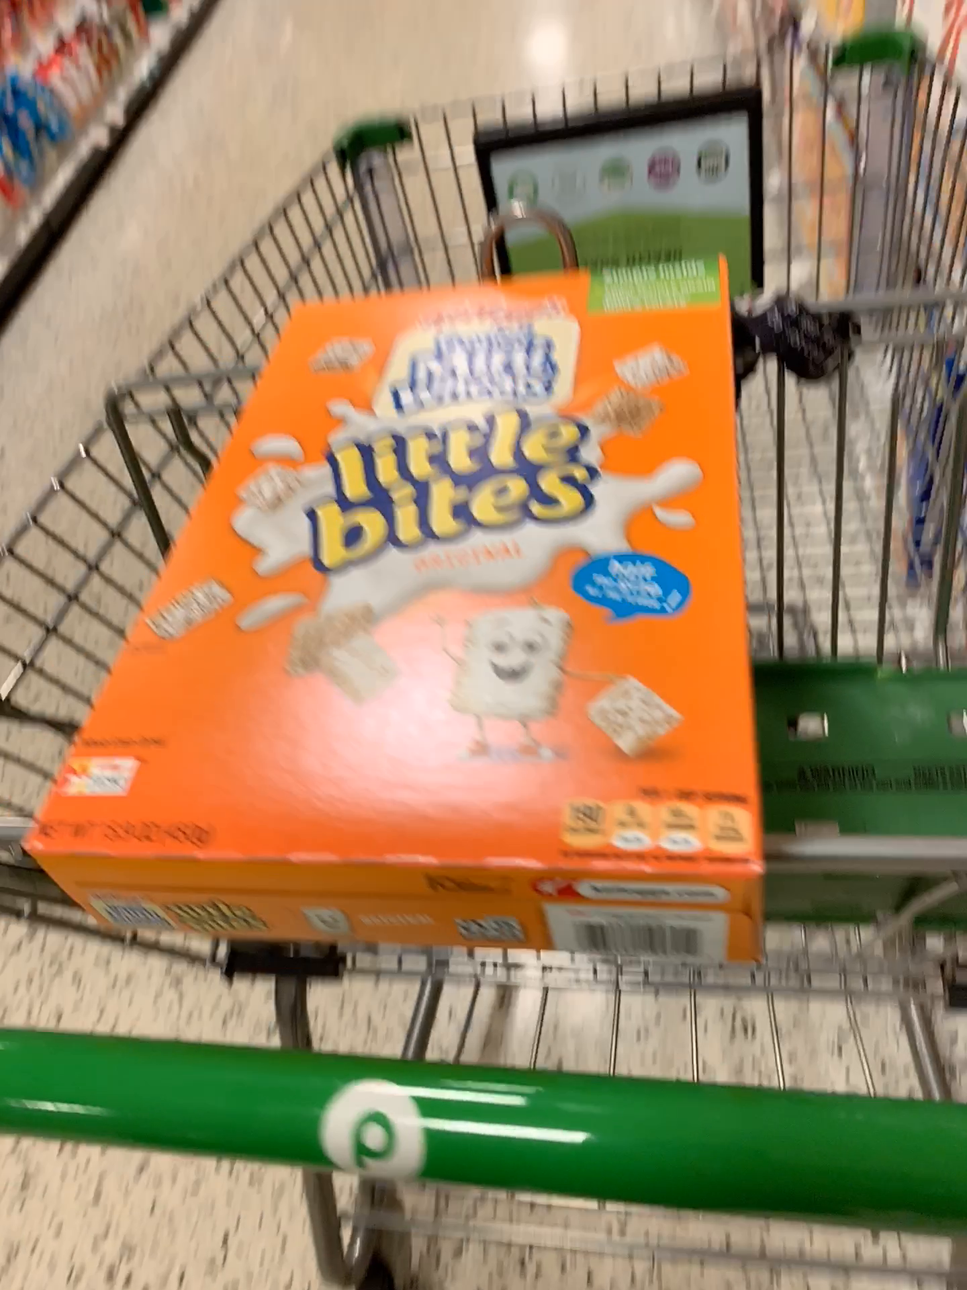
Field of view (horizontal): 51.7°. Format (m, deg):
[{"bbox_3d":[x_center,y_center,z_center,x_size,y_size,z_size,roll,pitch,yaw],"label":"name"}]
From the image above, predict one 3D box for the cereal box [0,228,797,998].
[{"bbox_3d":[-0.006,-0.043,0.374,0.210,0.059,0.322,-1,46,13],"label":"cereal box"}]
